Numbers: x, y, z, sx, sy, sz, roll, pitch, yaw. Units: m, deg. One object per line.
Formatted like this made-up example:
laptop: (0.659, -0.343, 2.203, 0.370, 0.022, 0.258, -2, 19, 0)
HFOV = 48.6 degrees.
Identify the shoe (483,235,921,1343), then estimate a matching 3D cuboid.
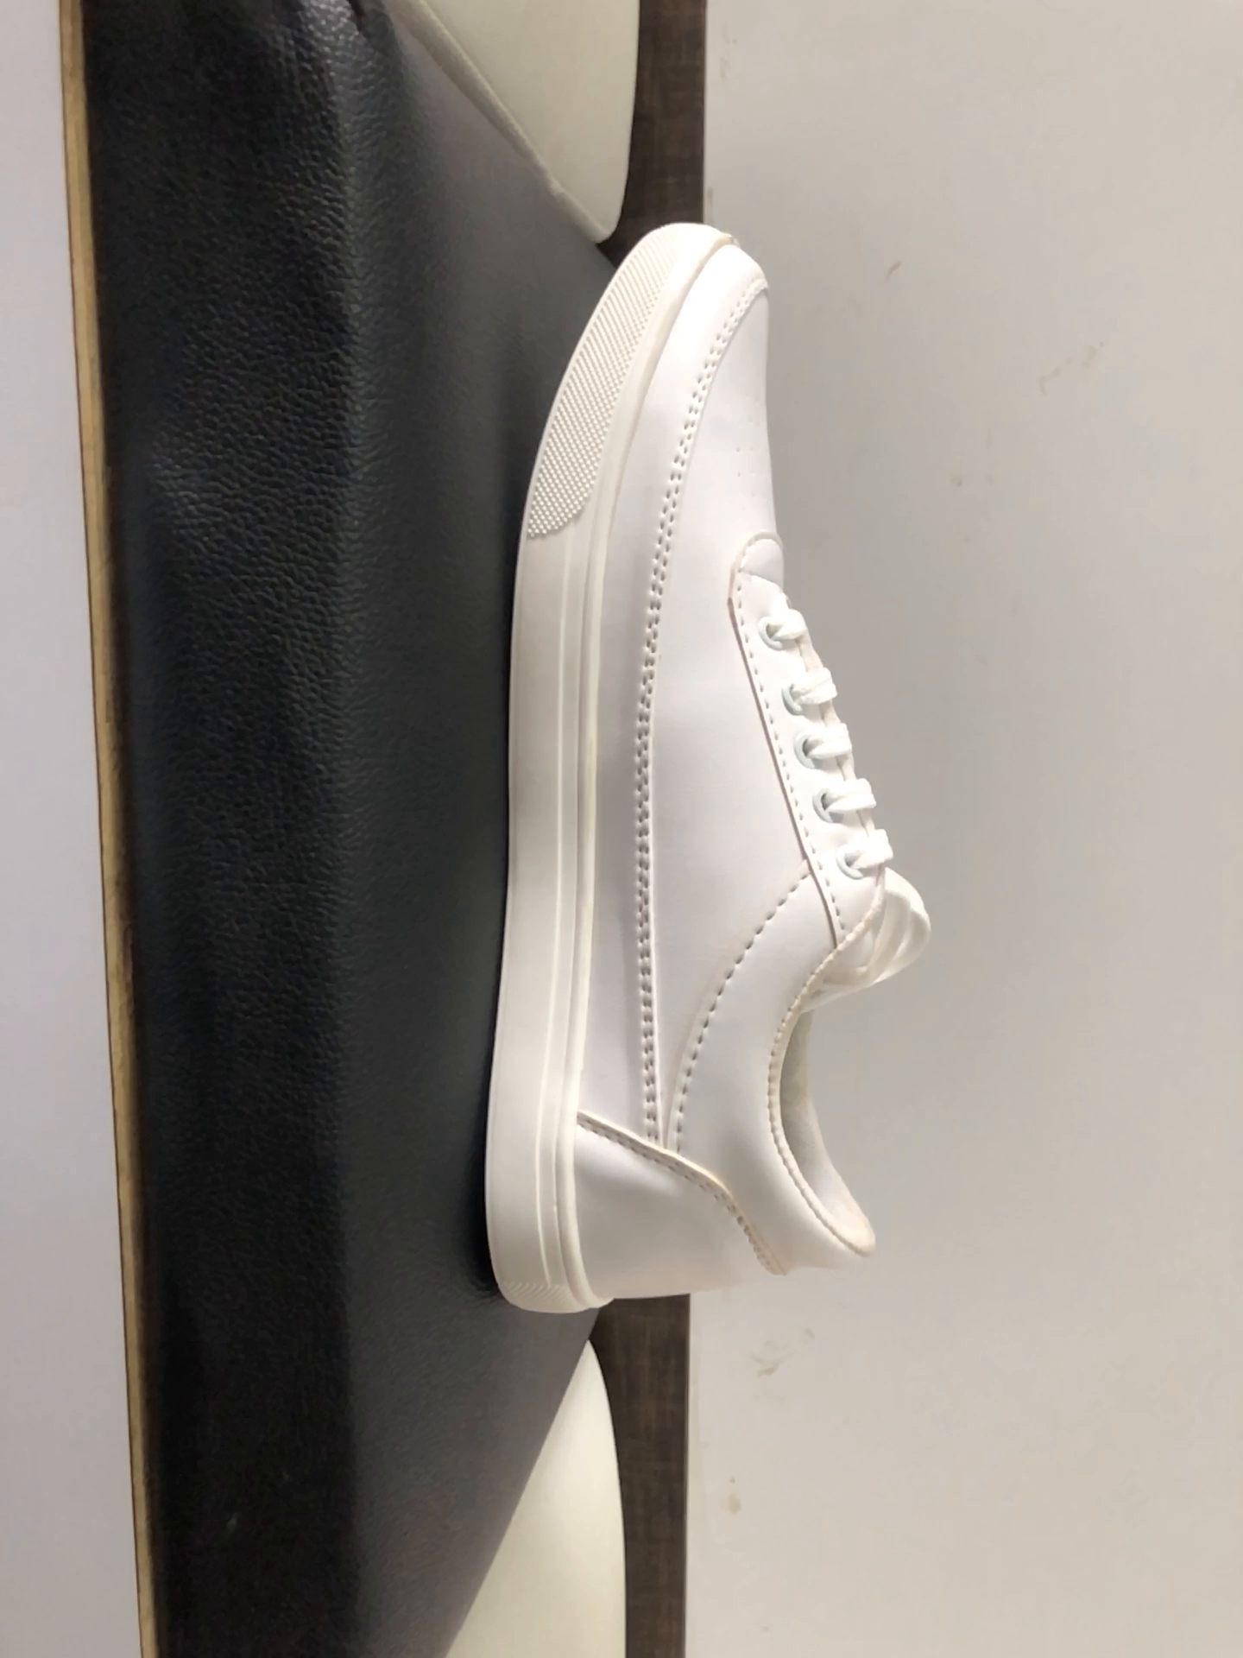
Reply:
shoe: (0.032, -0.012, 0.434, 0.130, 0.110, 0.290, -5, 96, -80)
